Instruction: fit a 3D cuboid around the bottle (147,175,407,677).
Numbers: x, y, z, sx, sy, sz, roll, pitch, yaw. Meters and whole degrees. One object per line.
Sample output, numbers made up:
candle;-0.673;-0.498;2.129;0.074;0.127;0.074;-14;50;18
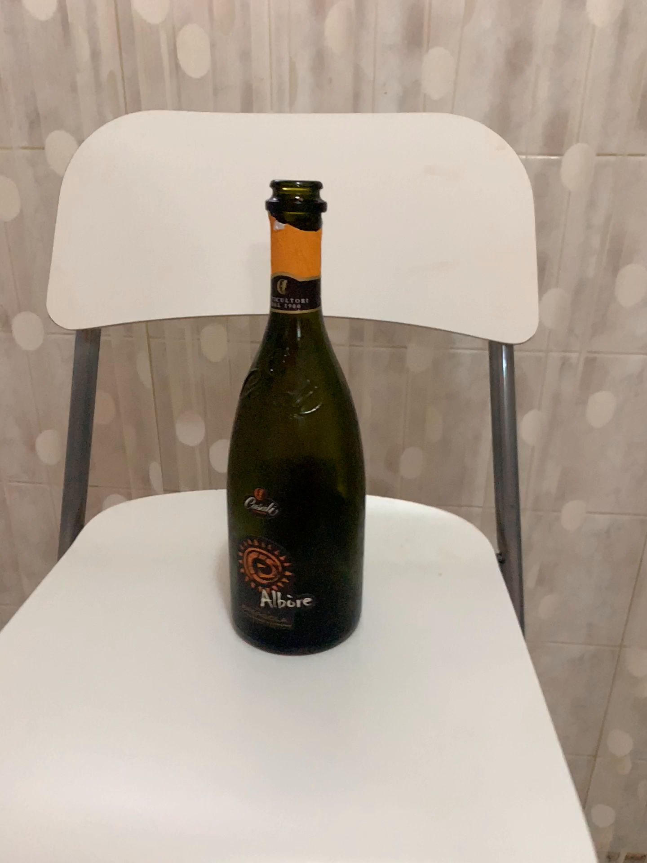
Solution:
bottle;-0.021;-0.005;0.395;0.101;0.269;0.093;0;24;0
